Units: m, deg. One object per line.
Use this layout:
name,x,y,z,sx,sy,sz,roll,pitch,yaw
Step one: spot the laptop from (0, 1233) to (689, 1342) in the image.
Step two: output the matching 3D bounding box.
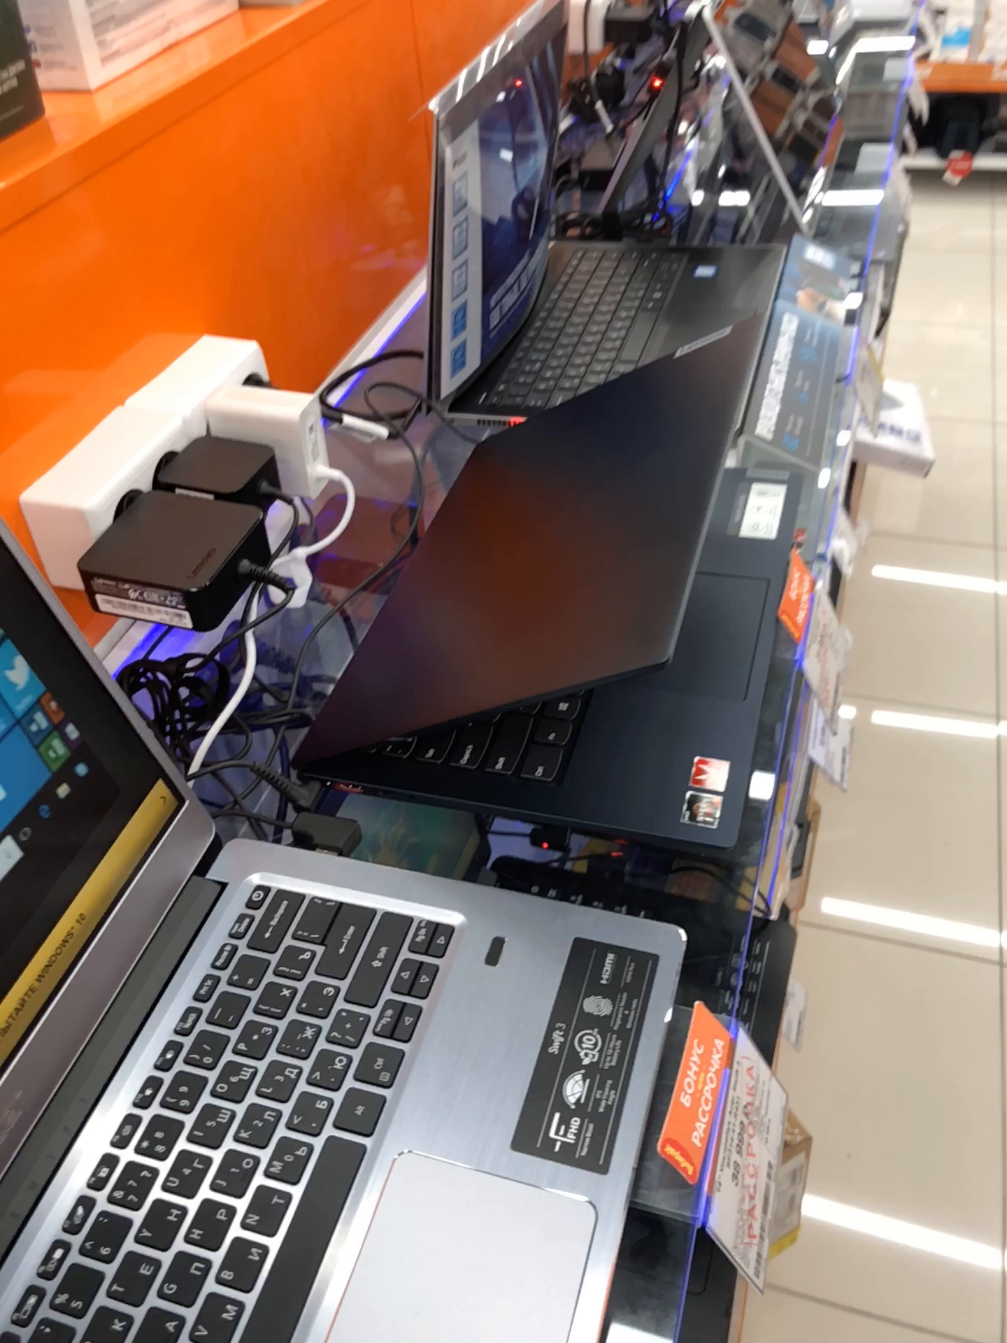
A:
laptop,-0.079,0.448,0.373,0.235,0.207,0.350,8,41,15

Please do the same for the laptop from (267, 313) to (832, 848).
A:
laptop,0.046,-0.073,0.606,0.211,0.106,0.300,9,44,17

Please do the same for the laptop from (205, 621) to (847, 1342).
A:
laptop,0.042,0.191,0.656,0.246,0.230,0.344,11,44,19

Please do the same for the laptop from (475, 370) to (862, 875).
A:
laptop,0.151,-0.061,0.934,0.225,0.215,0.354,10,44,18

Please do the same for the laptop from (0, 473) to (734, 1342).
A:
laptop,-0.074,0.127,0.311,0.224,0.203,0.317,8,43,16

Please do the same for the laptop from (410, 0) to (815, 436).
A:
laptop,0.095,-0.362,0.836,0.228,0.213,0.307,9,43,18
